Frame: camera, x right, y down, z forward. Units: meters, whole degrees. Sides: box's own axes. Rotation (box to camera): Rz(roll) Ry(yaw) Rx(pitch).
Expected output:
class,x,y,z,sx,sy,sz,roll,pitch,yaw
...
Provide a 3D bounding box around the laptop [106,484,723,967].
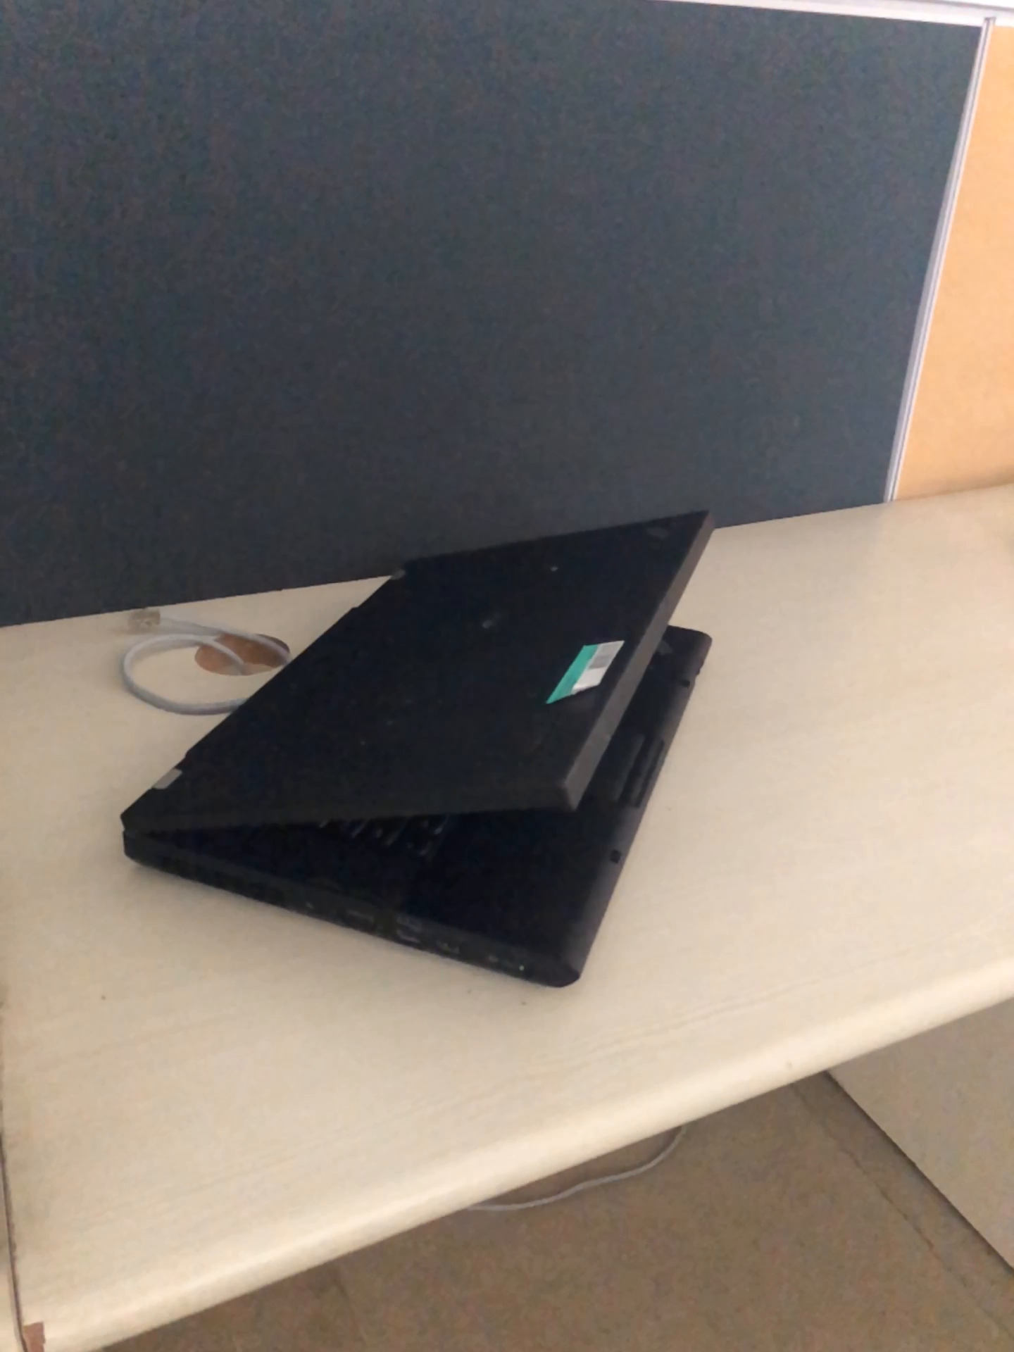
class,x,y,z,sx,sy,sz,roll,pitch,yaw
laptop,-0.020,-0.007,0.659,0.234,0.077,0.365,12,29,14
